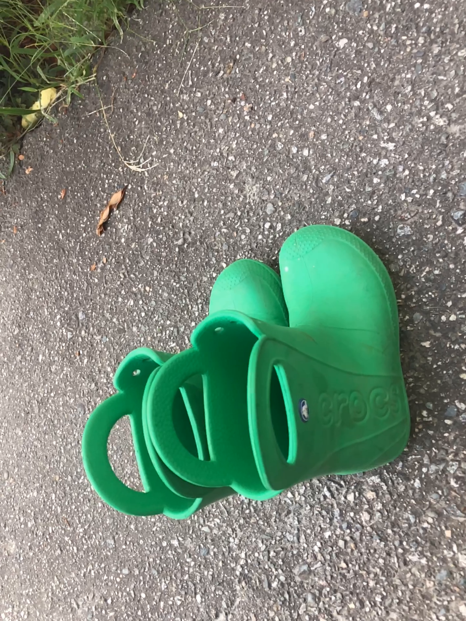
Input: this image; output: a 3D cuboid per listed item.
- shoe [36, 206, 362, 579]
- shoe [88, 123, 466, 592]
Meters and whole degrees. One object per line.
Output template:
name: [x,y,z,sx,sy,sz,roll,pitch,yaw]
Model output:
shoe: [-0.019,0.060,0.462,0.110,0.229,0.250,-25,76,34]
shoe: [0.052,0.029,0.410,0.110,0.259,0.260,-25,76,34]
